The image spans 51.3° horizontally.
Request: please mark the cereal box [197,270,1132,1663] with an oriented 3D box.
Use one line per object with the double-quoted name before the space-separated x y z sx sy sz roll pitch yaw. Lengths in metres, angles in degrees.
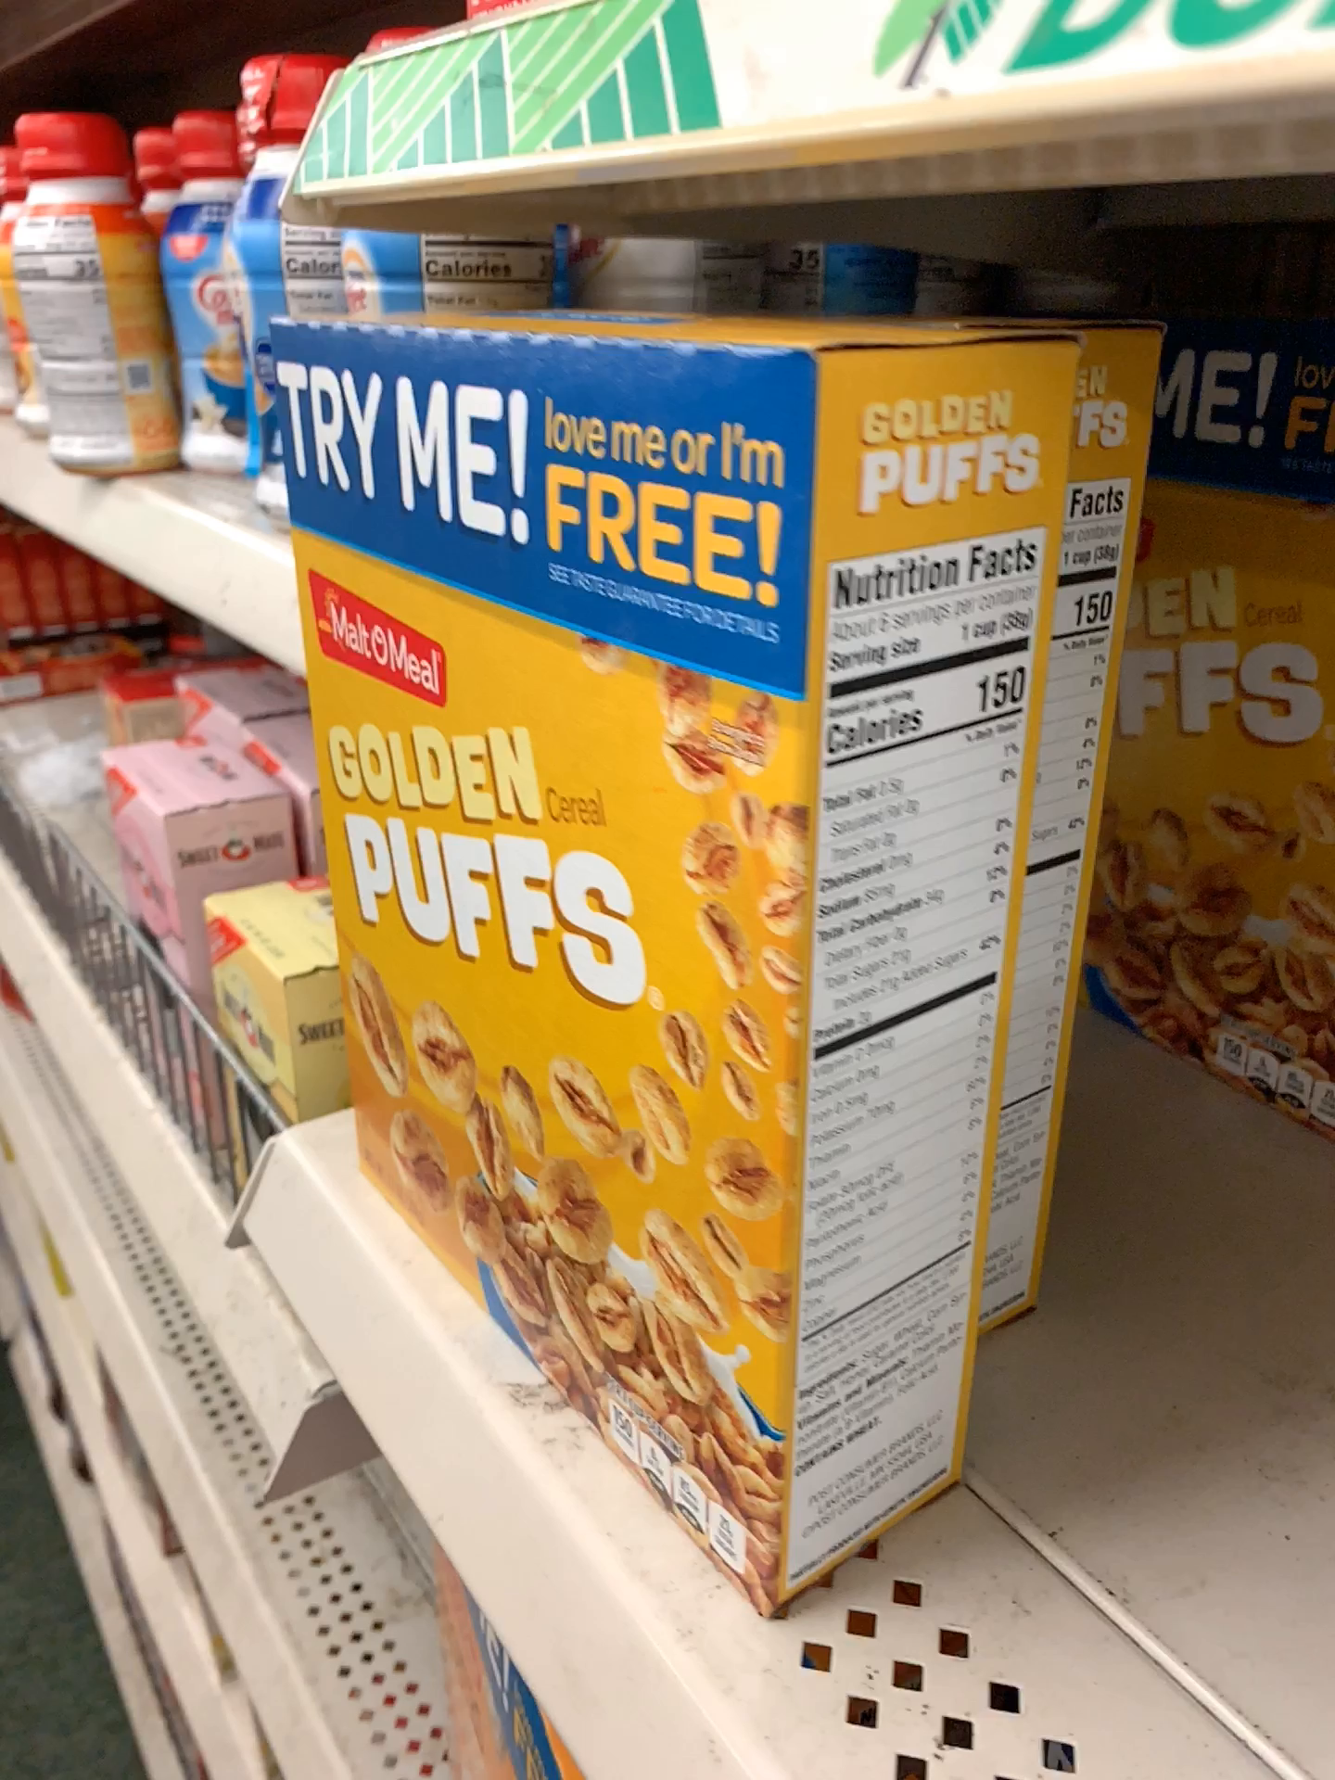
"cereal box" -0.018 -0.006 0.282 0.060 0.219 0.191 -16 28 -33
